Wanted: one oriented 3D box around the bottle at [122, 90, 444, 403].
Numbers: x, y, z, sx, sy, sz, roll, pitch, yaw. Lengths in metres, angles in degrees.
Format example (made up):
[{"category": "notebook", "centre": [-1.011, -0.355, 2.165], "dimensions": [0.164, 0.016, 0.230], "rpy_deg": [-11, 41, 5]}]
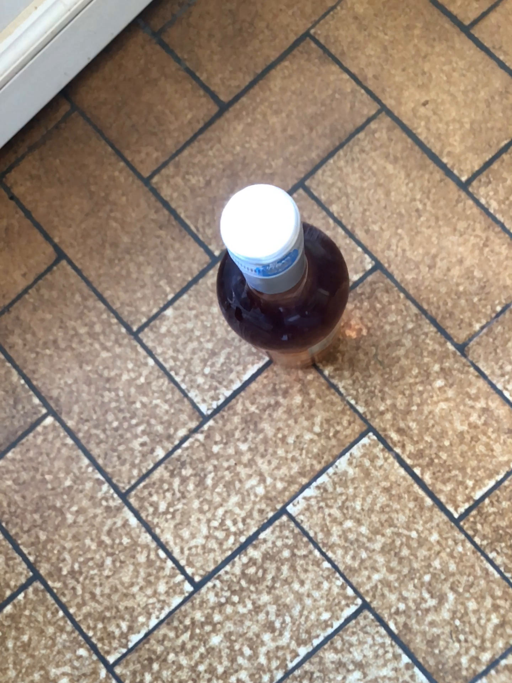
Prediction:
[{"category": "bottle", "centre": [0.023, -0.021, 0.338], "dimensions": [0.080, 0.290, 0.080], "rpy_deg": [-1, 85, 6]}]
